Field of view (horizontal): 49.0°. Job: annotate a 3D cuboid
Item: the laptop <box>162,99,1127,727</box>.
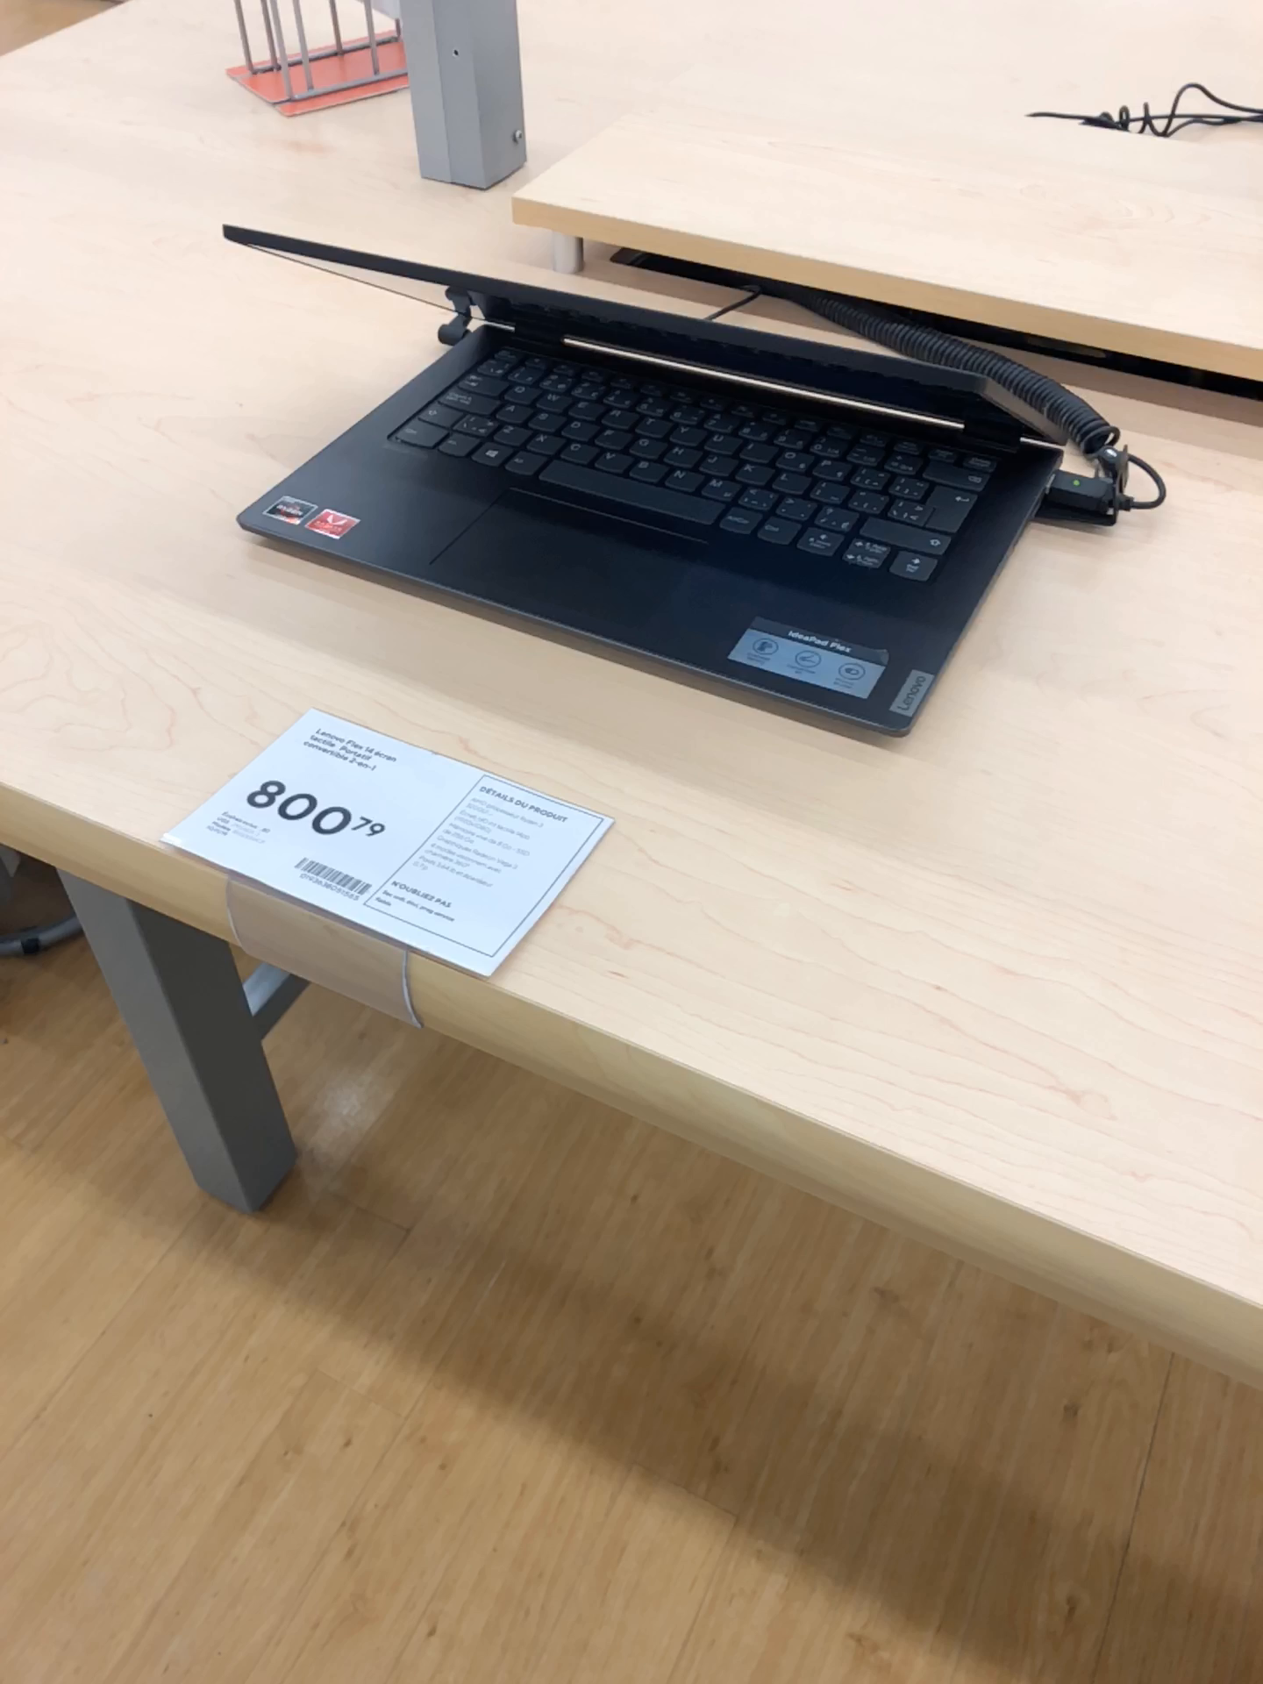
[{"bbox_3d":[0.012,-0.211,0.622,0.332,0.121,0.229,20,49,20],"label":"laptop"}]
